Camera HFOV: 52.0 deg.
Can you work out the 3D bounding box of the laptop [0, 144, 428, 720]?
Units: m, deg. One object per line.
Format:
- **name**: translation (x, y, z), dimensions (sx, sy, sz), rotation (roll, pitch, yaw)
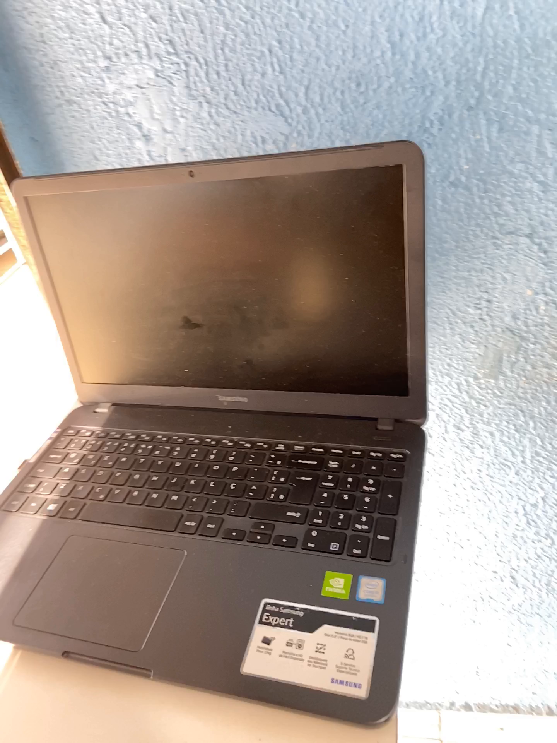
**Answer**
- **laptop**: translation (-0.095, 0.012, 0.427), dimensions (0.370, 0.232, 0.288), rotation (1, 37, 19)
